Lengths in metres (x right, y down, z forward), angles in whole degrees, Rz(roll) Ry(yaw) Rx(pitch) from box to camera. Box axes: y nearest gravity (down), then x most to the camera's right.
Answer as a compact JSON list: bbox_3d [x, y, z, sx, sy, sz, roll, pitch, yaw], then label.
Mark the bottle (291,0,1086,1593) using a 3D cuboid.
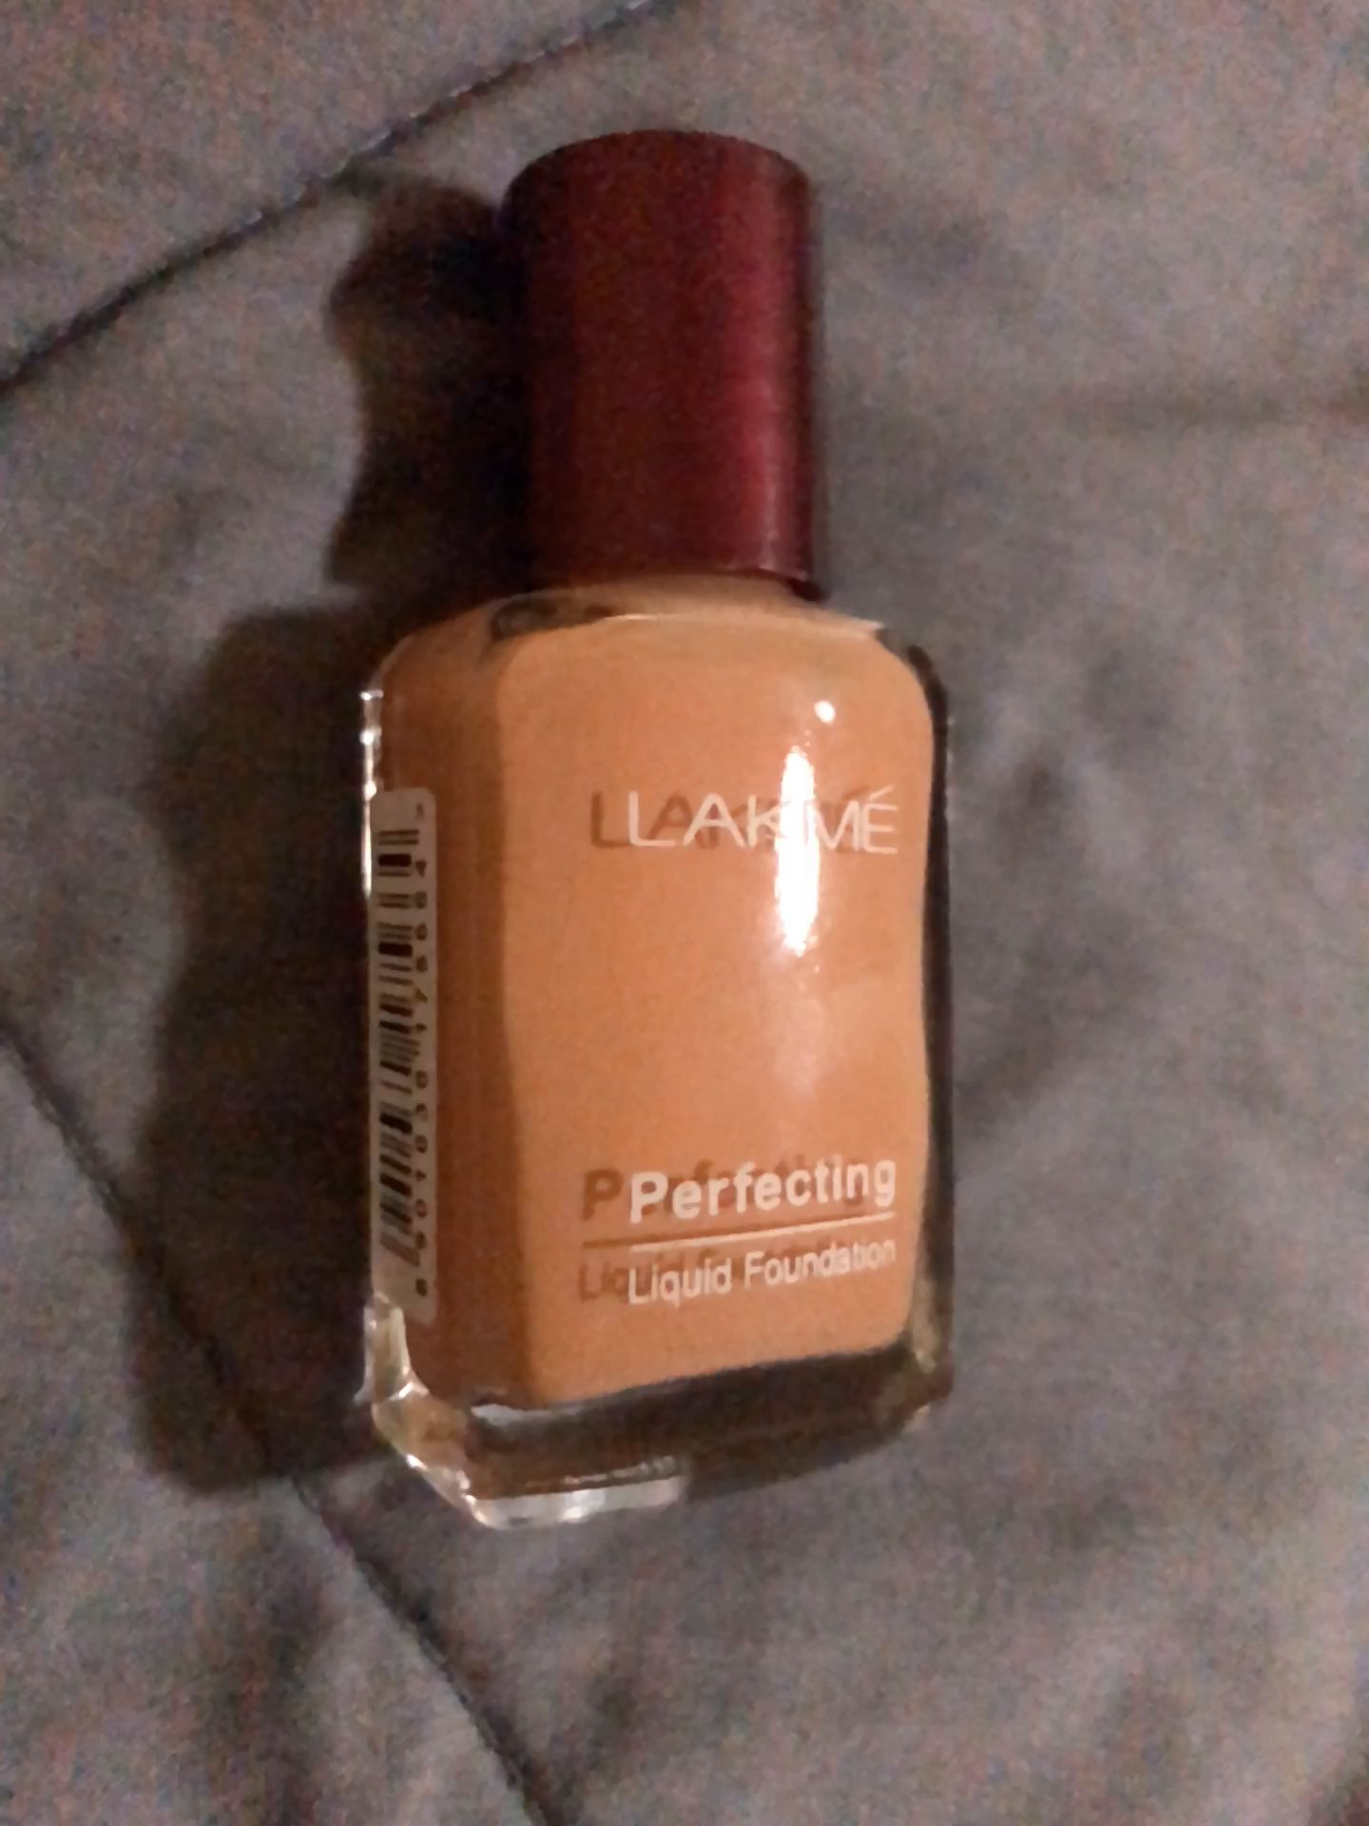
[{"bbox_3d":[0.000,-0.015,0.120,0.050,0.030,0.110,0,88,-34],"label":"bottle"}]
